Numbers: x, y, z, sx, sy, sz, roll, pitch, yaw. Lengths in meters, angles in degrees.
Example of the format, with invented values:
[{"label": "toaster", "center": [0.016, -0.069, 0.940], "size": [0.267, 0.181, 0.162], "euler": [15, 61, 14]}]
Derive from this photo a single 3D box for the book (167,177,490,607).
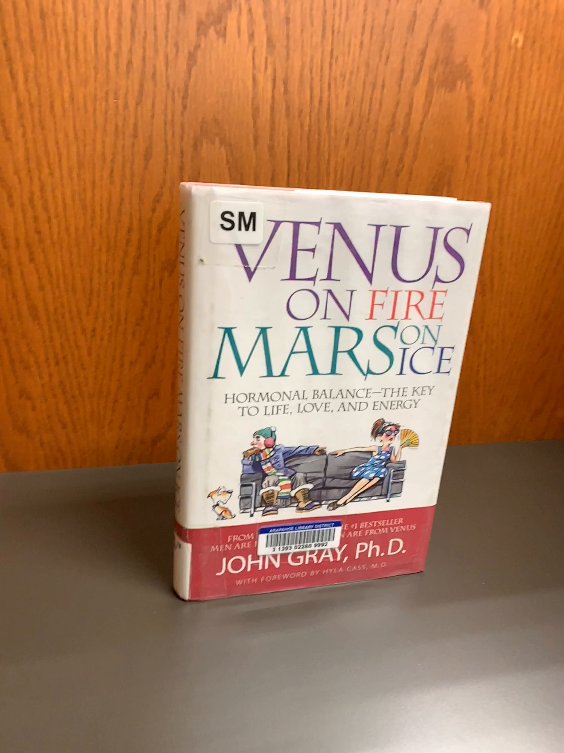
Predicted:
[{"label": "book", "center": [0.017, 0.013, 0.315], "size": [0.153, 0.220, 0.033], "euler": [-2, 20, -16]}]
